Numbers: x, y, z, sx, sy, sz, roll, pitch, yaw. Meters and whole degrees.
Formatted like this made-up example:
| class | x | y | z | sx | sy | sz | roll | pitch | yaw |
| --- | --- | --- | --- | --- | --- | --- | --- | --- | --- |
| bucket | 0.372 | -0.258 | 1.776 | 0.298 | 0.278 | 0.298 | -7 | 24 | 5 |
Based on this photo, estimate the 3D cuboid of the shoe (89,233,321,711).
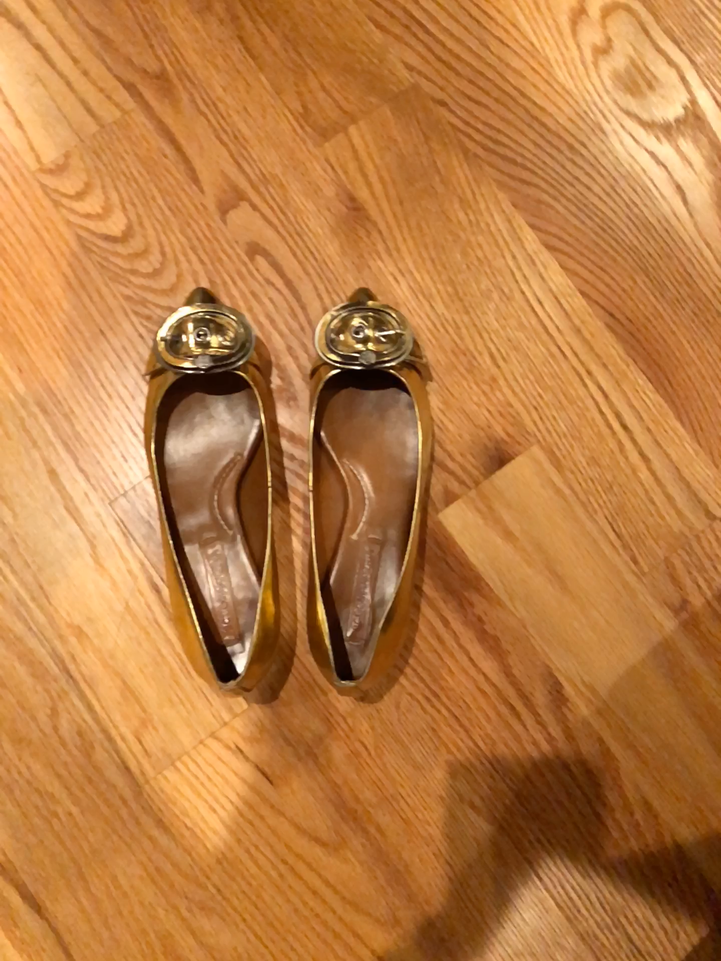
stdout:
| class | x | y | z | sx | sy | sz | roll | pitch | yaw |
| --- | --- | --- | --- | --- | --- | --- | --- | --- | --- |
| shoe | -0.085 | -0.005 | 0.452 | 0.083 | 0.066 | 0.244 | -10 | 83 | -3 |

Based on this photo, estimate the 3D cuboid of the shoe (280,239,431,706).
| class | x | y | z | sx | sy | sz | roll | pitch | yaw |
| --- | --- | --- | --- | --- | --- | --- | --- | --- | --- |
| shoe | -0.002 | -0.005 | 0.454 | 0.077 | 0.066 | 0.249 | 1 | 83 | -1 |
